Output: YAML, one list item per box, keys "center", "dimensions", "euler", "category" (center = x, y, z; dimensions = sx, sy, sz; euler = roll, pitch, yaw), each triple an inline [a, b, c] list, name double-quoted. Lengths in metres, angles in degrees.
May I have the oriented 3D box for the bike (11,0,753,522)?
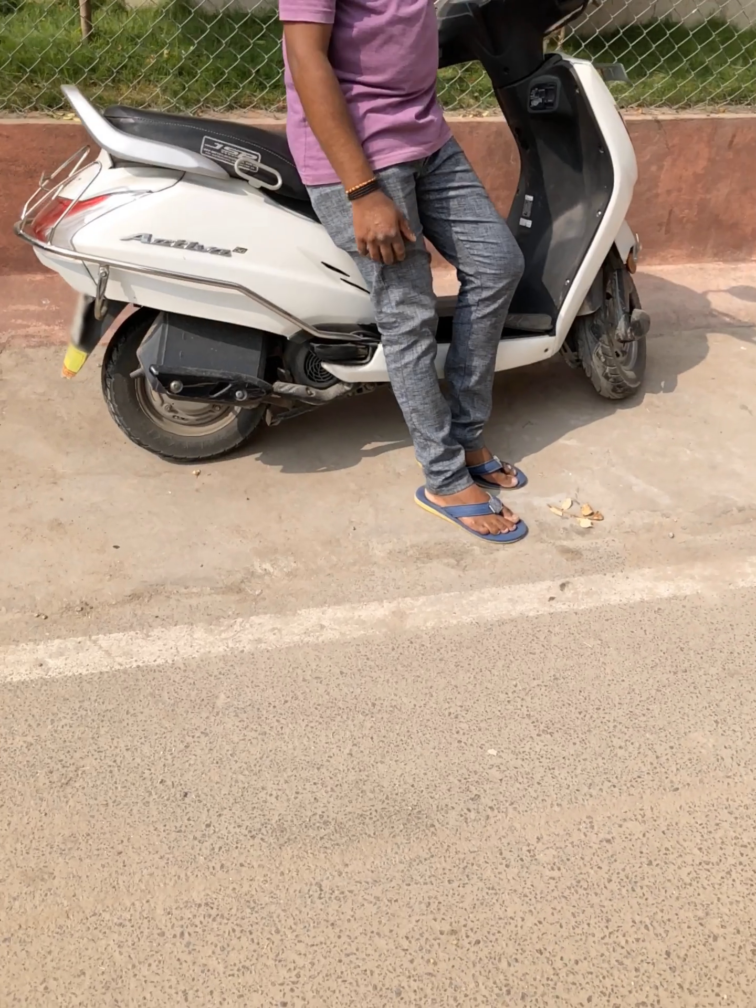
- center: [0.018, -0.767, 2.158]
  dimensions: [1.555, 1.113, 0.620]
  euler: [-15, 41, -19]
  category: "bike"
